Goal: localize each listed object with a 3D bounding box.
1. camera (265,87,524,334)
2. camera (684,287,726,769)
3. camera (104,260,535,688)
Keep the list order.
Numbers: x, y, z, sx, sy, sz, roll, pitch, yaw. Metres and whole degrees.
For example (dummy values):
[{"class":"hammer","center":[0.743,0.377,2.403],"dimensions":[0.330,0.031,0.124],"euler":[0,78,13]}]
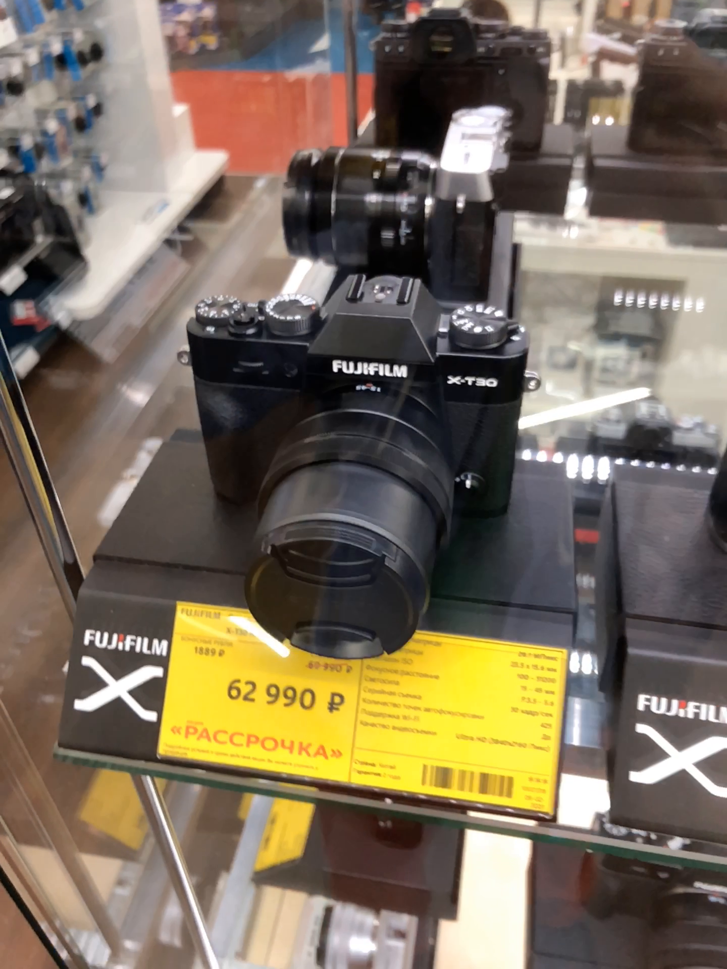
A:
[{"class":"camera","center":[0.022,-0.156,0.451],"dimensions":[0.120,0.089,0.114],"euler":[6,40,8]},{"class":"camera","center":[0.170,0.005,0.245],"dimensions":[0.114,0.078,0.109],"euler":[7,40,10]},{"class":"camera","center":[-0.004,-0.009,0.281],"dimensions":[0.114,0.089,0.111],"euler":[5,40,7]}]
